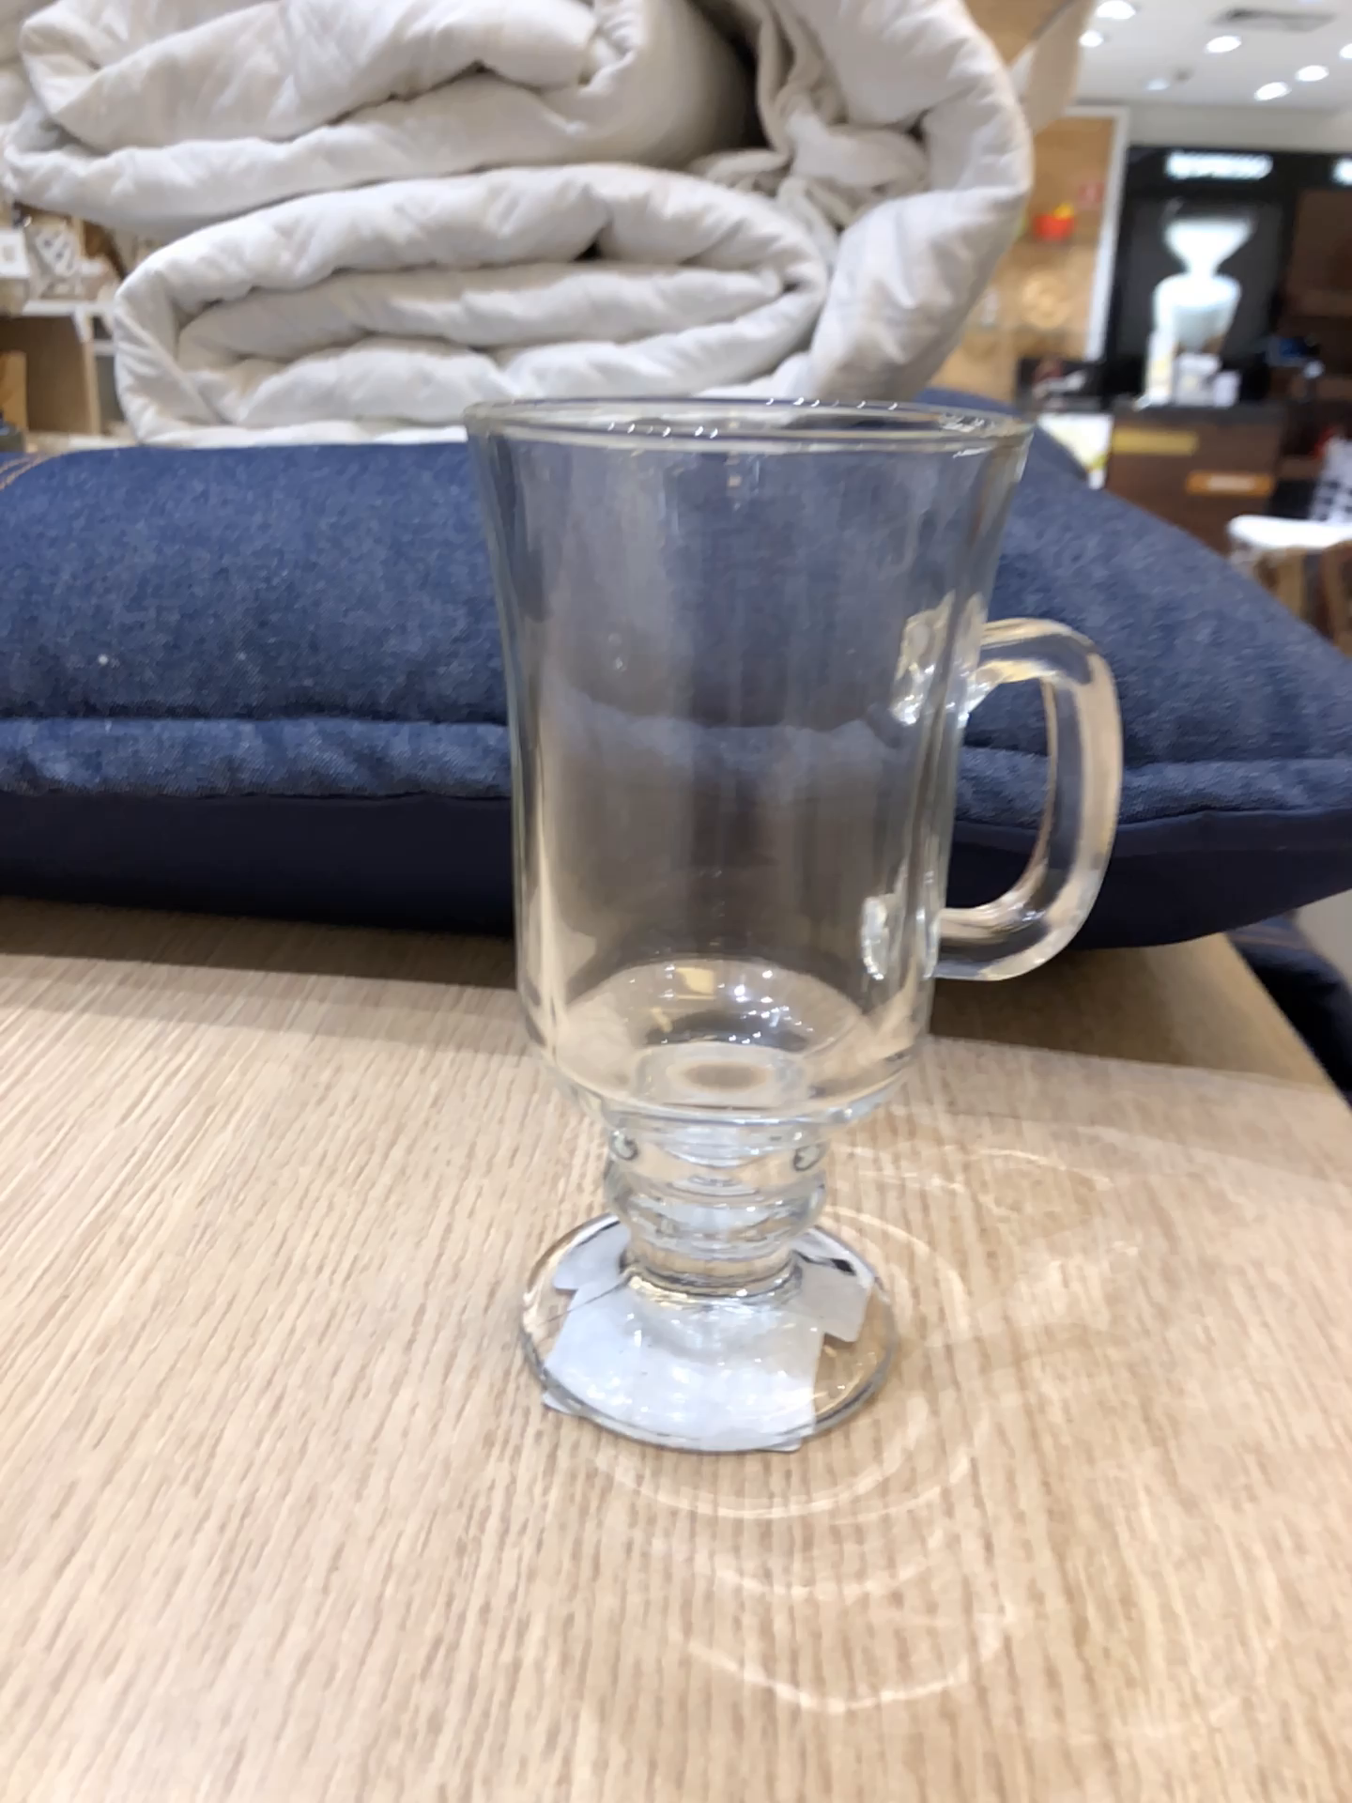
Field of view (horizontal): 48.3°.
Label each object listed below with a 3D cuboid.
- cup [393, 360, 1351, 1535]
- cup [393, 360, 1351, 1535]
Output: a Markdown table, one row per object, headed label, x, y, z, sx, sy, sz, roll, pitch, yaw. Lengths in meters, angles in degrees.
| label | x | y | z | sx | sy | sz | roll | pitch | yaw |
| --- | --- | --- | --- | --- | --- | --- | --- | --- | --- |
| cup | 0.022 | 0.001 | 0.226 | 0.110 | 0.149 | 0.091 | 1 | 20 | -2 |
| cup | 0.022 | 0.001 | 0.226 | 0.110 | 0.149 | 0.091 | 1 | 20 | -2 |
